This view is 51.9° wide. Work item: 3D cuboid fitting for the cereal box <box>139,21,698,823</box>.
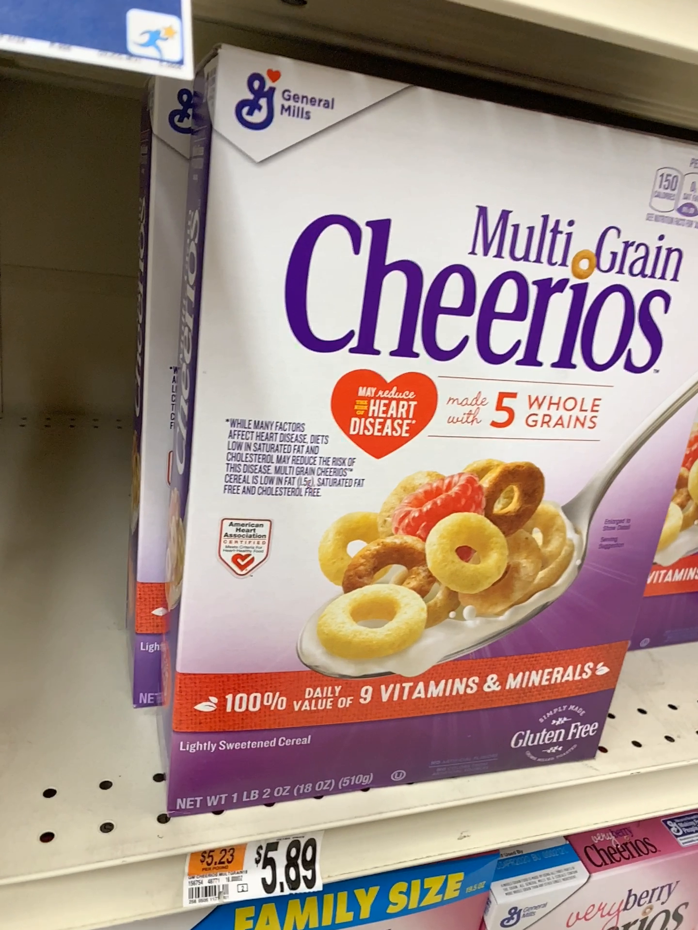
[{"bbox_3d":[0.037,0.001,0.346,0.250,0.319,0.070,1,19,-20],"label":"cereal box"}]
